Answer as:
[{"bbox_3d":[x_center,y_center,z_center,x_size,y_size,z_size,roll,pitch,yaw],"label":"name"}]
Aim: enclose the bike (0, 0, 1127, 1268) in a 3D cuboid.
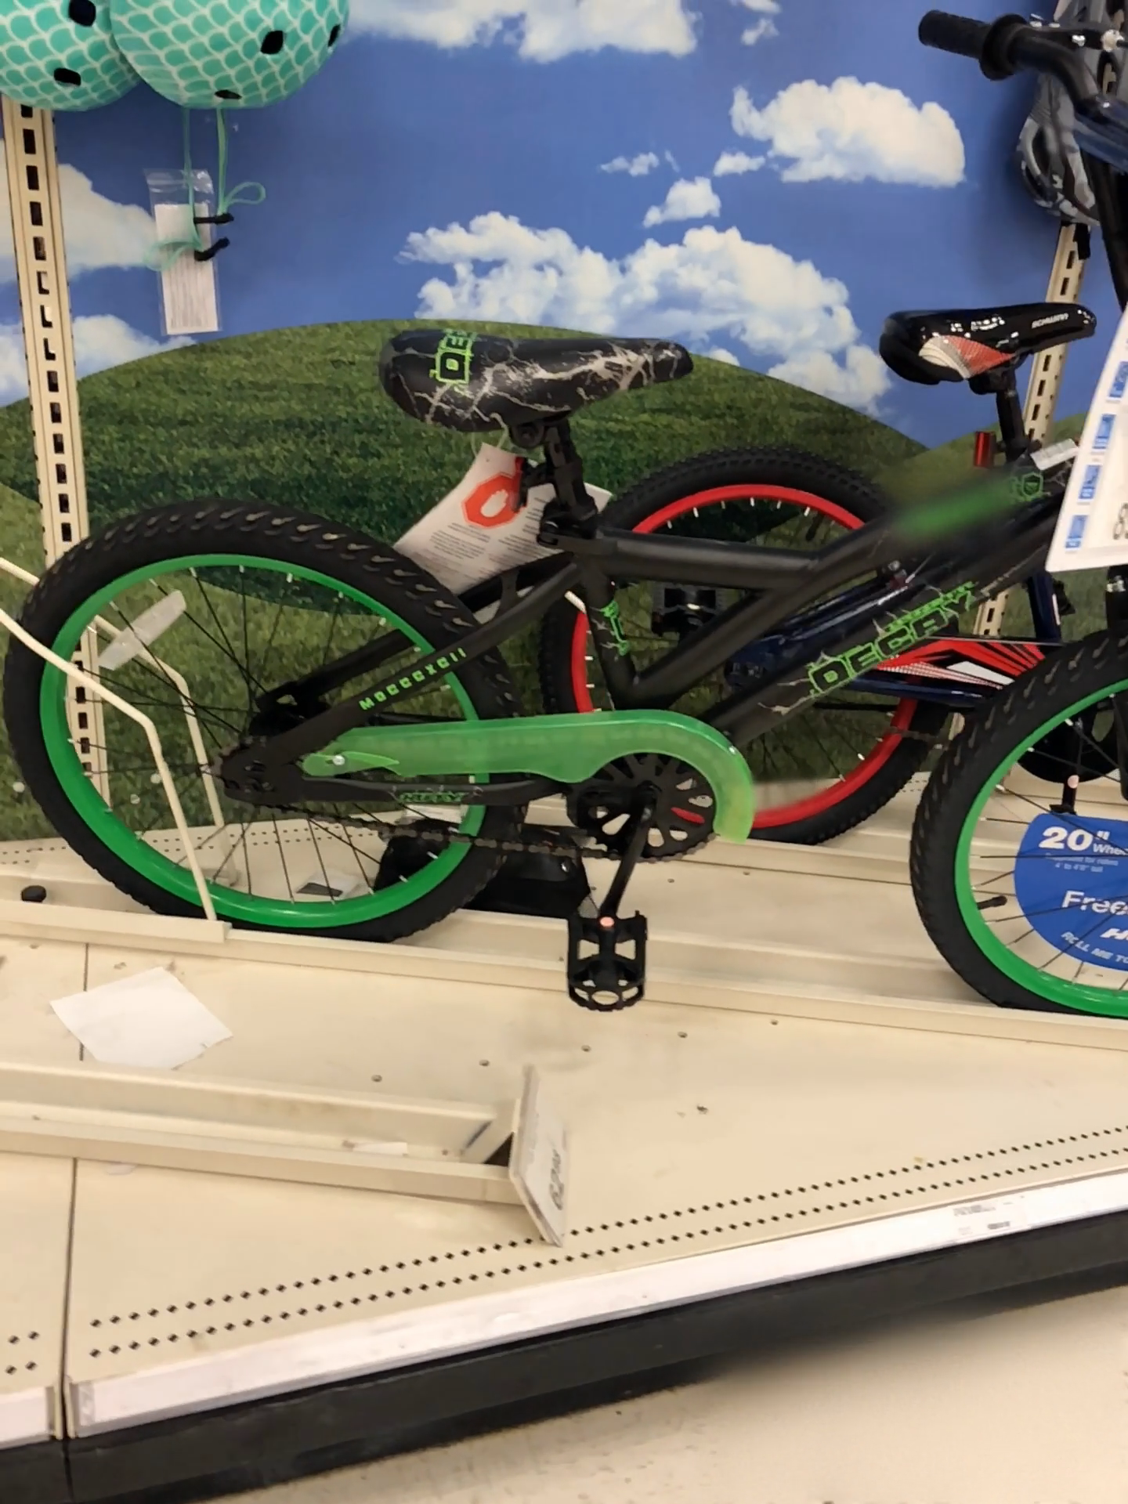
[{"bbox_3d":[0.187,-0.175,1.080,1.361,0.879,0.631,5,24,1],"label":"bike"}]
